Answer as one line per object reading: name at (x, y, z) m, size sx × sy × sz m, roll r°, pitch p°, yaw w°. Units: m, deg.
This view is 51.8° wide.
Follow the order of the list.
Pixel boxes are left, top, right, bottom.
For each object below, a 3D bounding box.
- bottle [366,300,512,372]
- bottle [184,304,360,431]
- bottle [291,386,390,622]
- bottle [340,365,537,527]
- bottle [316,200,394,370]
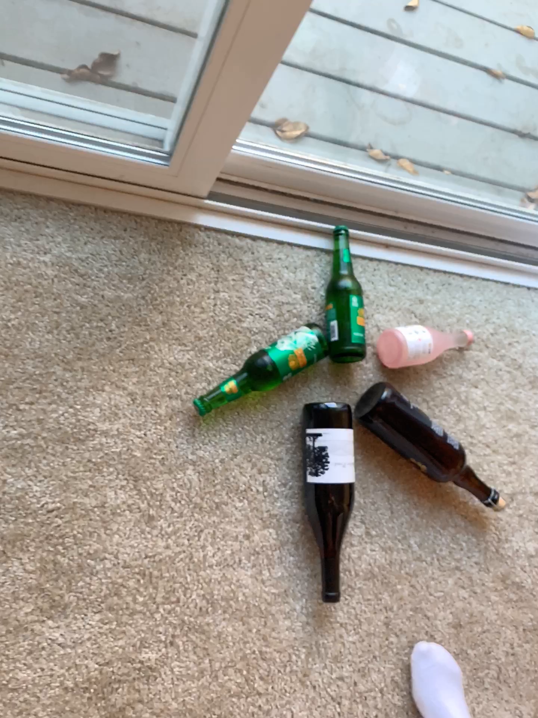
bottle at (0.284, -0.039, 0.931) m, size 0.210 × 0.090 × 0.080 m, roll -7°, pitch 81°, yaw -20°
bottle at (0.006, 0.011, 0.810) m, size 0.240 × 0.090 × 0.070 m, roll -28°, pitch 90°, yaw -26°
bottle at (0.099, 0.200, 0.804) m, size 0.080 × 0.090 × 0.310 m, roll 1°, pitch 76°, yaw -21°
bottle at (0.272, 0.145, 0.893) m, size 0.310 × 0.090 × 0.080 m, roll 38°, pitch 68°, yaw -7°
bottle at (0.136, -0.114, 0.895) m, size 0.080 × 0.090 × 0.250 m, roll 2°, pitch 80°, yaw -21°
